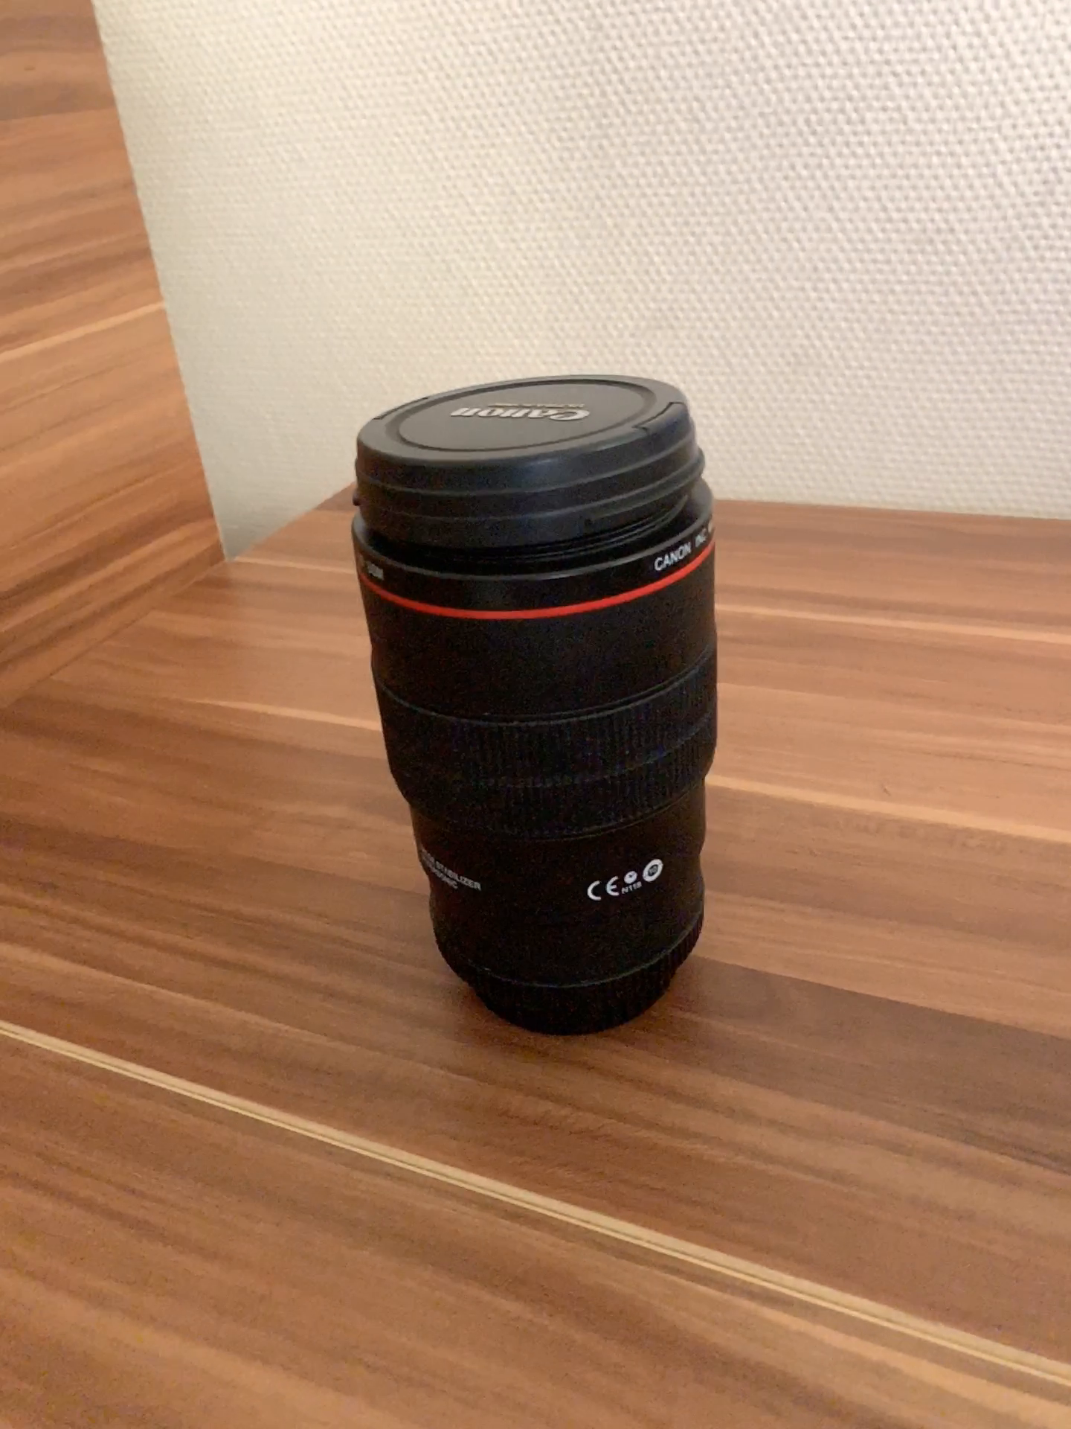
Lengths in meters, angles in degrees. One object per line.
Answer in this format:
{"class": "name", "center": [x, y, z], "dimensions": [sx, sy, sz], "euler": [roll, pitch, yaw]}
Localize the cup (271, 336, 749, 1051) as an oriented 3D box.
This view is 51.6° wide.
{"class": "cup", "center": [0.005, -0.002, 0.248], "dimensions": [0.080, 0.139, 0.070], "euler": [-1, 31, 8]}
